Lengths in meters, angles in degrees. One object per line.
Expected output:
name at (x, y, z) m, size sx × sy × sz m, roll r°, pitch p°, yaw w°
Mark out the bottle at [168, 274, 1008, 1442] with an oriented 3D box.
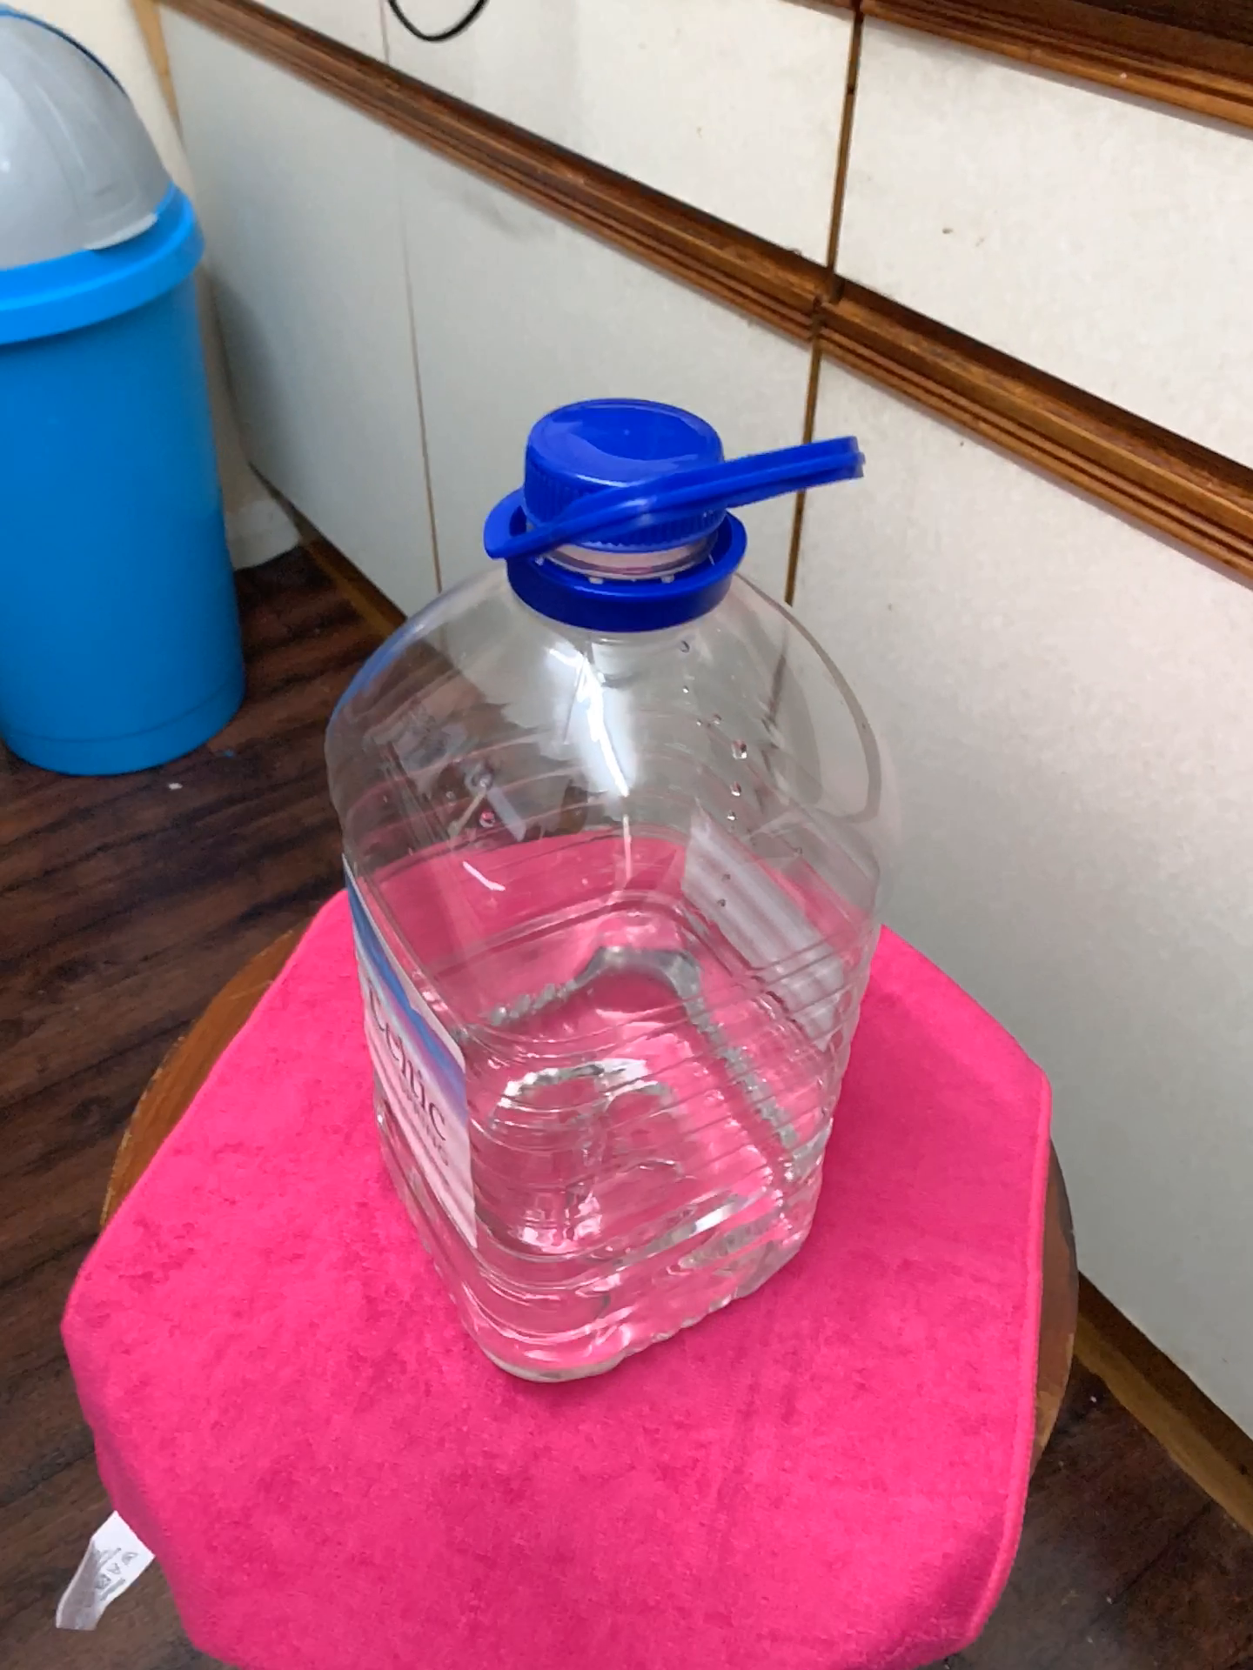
bottle at (-0.018, 0.026, 0.412) m, size 0.140 × 0.327 × 0.151 m, roll 1°, pitch 44°, yaw -1°
